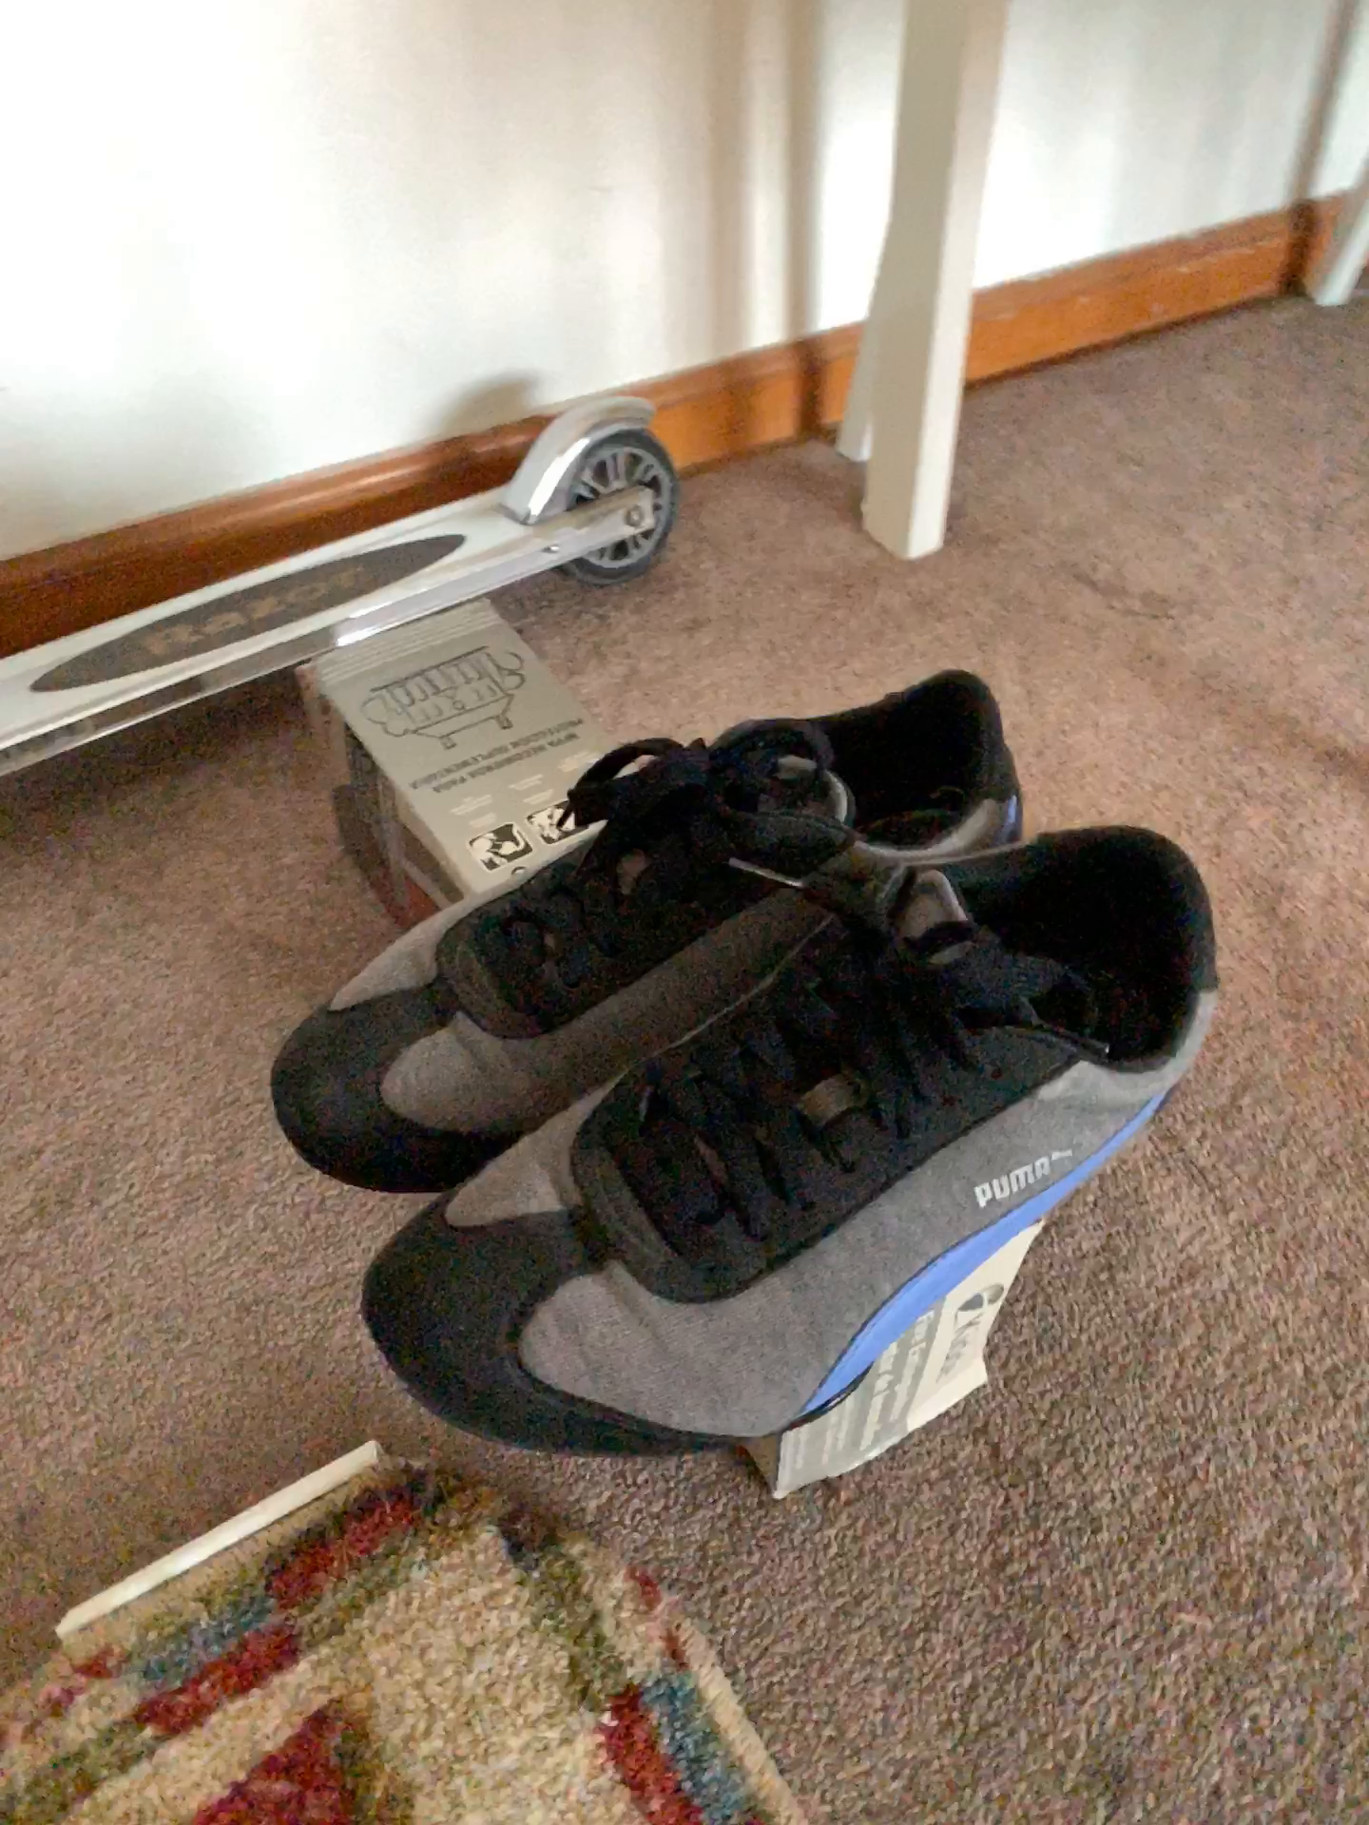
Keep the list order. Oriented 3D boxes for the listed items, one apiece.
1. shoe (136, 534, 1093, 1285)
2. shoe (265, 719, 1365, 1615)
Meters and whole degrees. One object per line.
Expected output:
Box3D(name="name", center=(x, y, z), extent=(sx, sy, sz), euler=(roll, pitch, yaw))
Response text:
Box3D(name="shoe", center=(-0.015, -0.012, 0.415), extent=(0.241, 0.077, 0.111), euler=(-26, 52, -19))
Box3D(name="shoe", center=(0.038, 0.050, 0.363), extent=(0.251, 0.077, 0.101), euler=(-25, 47, -20))
